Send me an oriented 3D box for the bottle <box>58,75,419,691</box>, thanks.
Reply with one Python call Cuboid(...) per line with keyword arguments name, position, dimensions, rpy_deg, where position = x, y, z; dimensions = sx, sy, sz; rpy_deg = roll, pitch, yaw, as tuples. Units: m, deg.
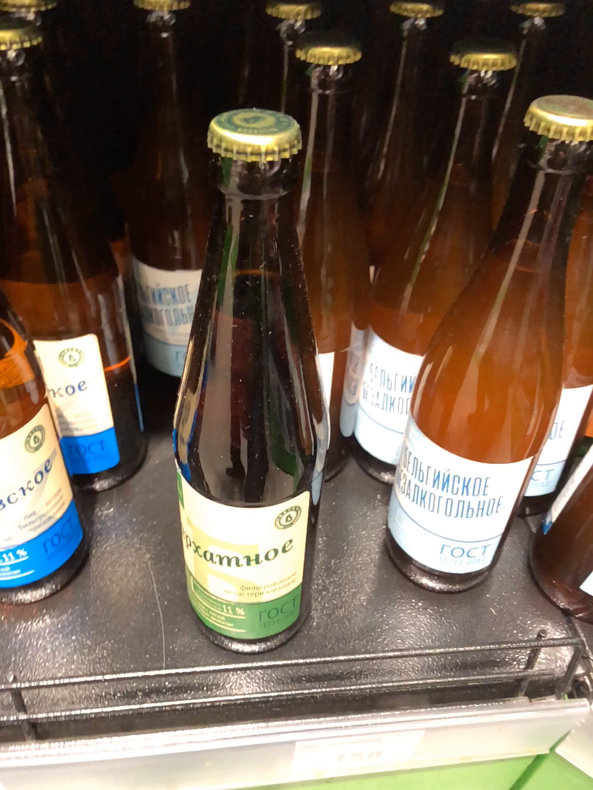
Cuboid(name="bottle", position=(-0.021, 0.016, 0.274), dimensions=(0.080, 0.249, 0.070), rpy_deg=(22, 44, 19))
